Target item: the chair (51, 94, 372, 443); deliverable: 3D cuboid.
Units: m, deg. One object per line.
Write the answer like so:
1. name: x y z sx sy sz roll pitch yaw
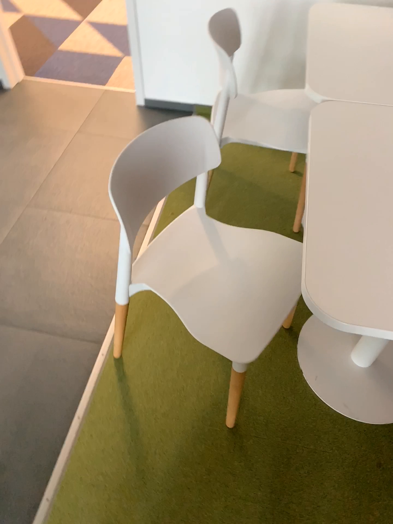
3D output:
1. chair: 0.045 0.052 1.169 0.500 0.747 0.512 30 57 21

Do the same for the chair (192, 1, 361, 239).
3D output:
1. chair: 0.265 -0.566 1.679 0.510 0.727 0.562 5 52 3
